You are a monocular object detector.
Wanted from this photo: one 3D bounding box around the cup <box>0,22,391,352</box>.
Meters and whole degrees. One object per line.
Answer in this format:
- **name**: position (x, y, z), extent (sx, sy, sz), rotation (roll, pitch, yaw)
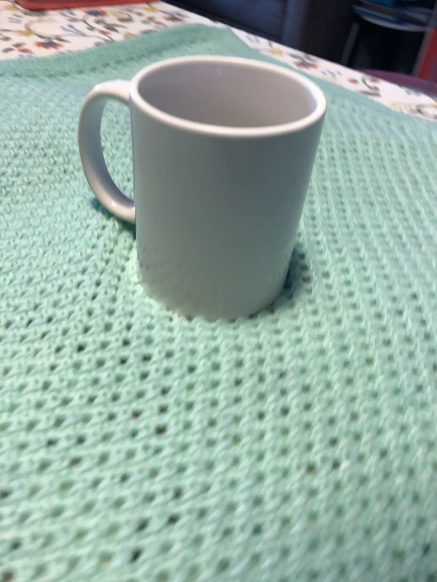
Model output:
- **cup**: position (-0.011, -0.059, 0.233), extent (0.140, 0.079, 0.101), rotation (24, 45, 17)
